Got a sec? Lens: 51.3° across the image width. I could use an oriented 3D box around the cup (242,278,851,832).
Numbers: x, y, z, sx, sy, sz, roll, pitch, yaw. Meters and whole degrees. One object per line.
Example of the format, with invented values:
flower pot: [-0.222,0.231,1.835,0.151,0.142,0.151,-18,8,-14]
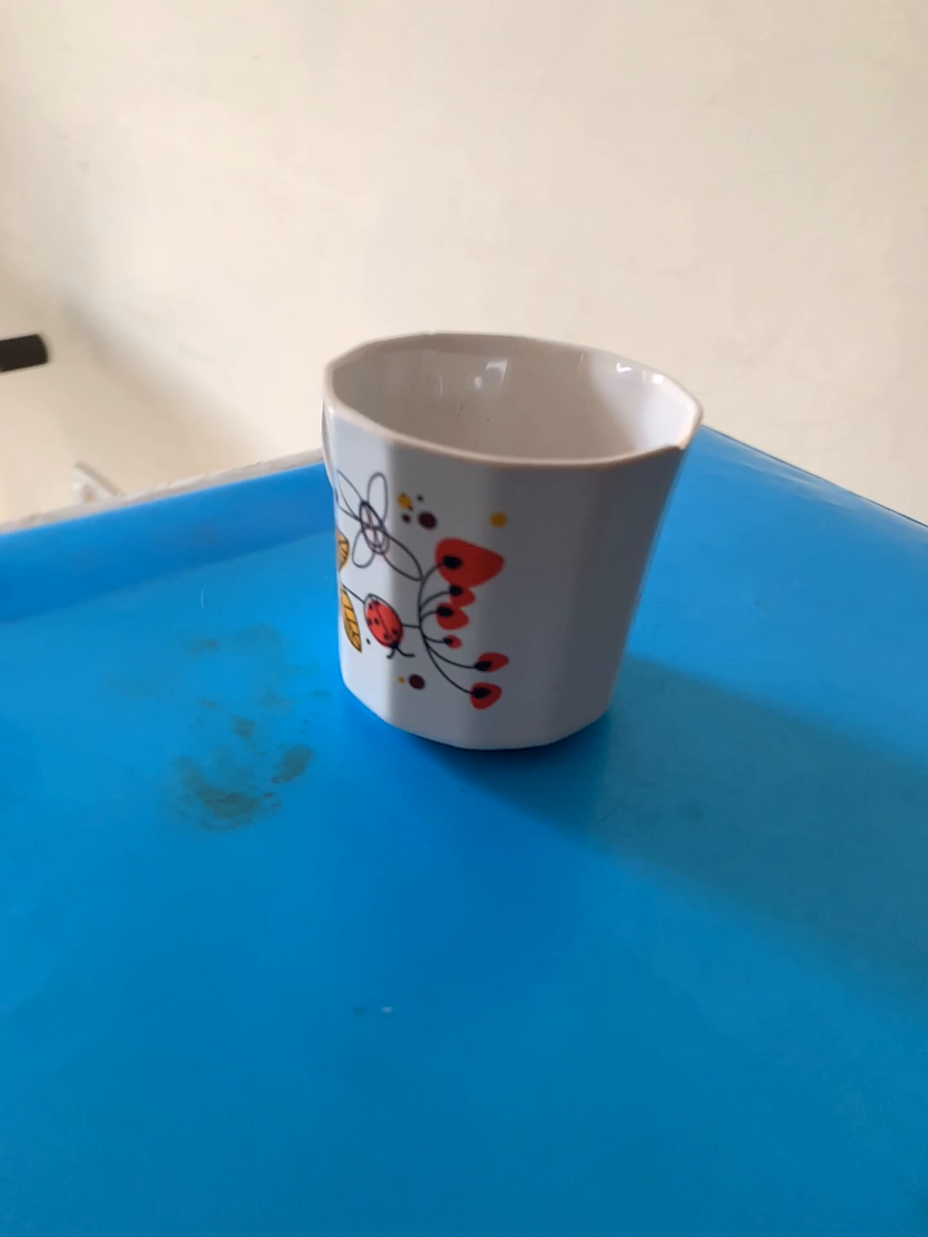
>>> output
cup: [0.007,-0.023,0.198,0.070,0.059,0.101,-14,40,-29]
